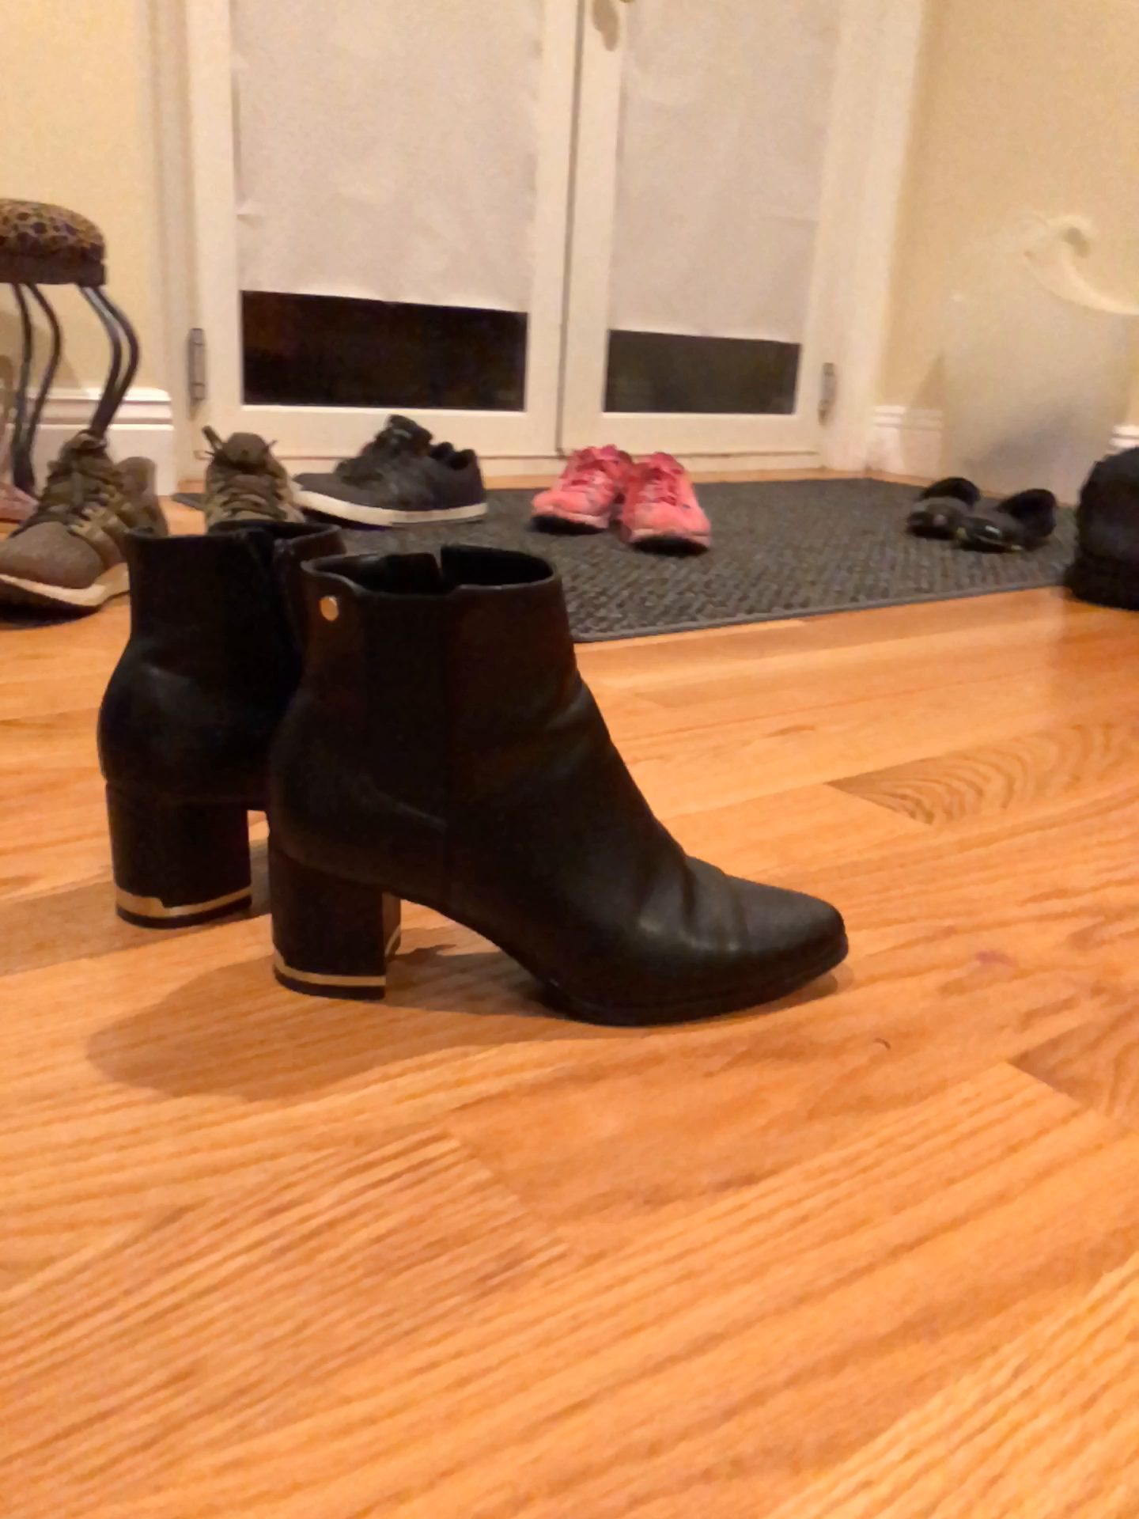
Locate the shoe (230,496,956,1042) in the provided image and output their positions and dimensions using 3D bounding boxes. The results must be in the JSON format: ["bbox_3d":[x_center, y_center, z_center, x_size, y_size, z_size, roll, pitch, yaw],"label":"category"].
[{"bbox_3d":[0.003,0.000,0.476,0.236,0.175,0.095,3,17,-2],"label":"shoe"}]

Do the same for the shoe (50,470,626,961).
[{"bbox_3d":[-0.096,-0.037,0.576,0.237,0.175,0.095,-13,24,-42],"label":"shoe"}]
